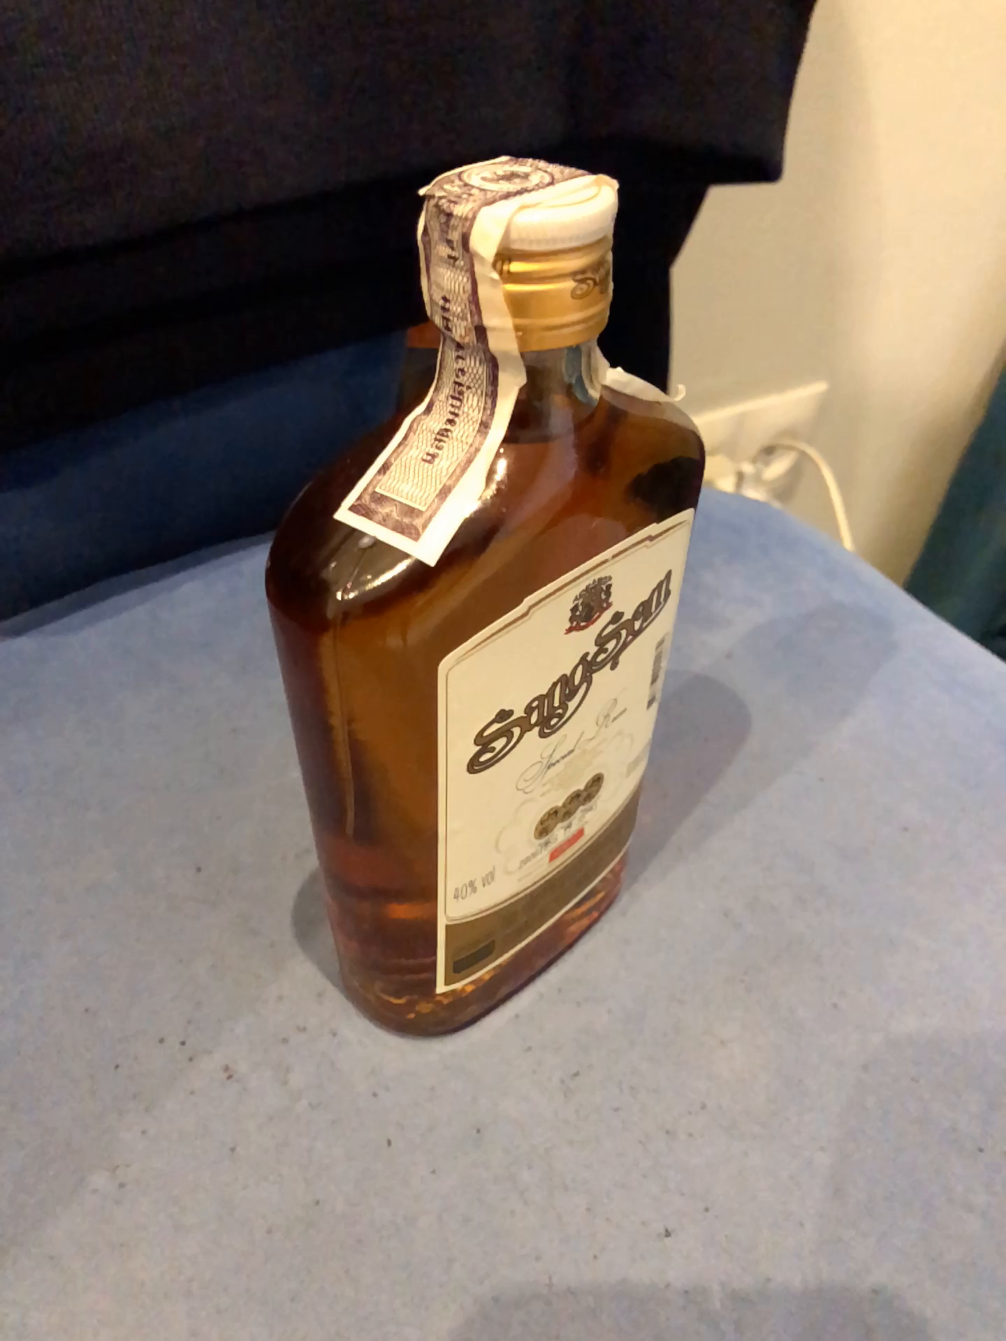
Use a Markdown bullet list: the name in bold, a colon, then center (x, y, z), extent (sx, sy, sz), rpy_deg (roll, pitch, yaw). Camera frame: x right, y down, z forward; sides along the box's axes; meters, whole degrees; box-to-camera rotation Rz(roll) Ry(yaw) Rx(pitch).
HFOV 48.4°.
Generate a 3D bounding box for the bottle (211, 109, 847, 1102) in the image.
- **bottle**: center (0.001, -0.002, 0.221), extent (0.041, 0.179, 0.090), rpy_deg (36, 50, 29)
